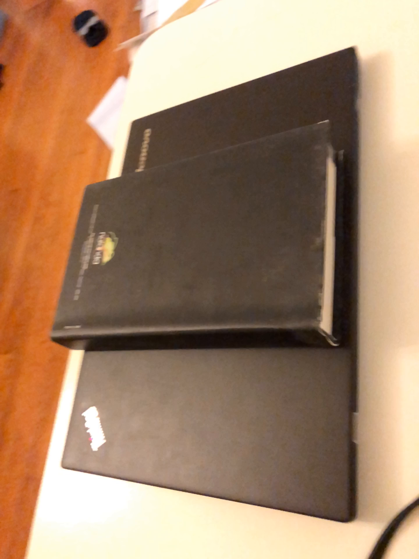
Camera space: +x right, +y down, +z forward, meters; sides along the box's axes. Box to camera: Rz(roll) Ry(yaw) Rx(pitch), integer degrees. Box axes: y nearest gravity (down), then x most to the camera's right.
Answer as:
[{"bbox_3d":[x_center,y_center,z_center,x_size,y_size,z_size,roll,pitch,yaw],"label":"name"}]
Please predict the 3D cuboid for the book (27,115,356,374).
[{"bbox_3d":[-0.018,-0.015,0.332,0.231,0.040,0.150,-5,67,30],"label":"book"}]
